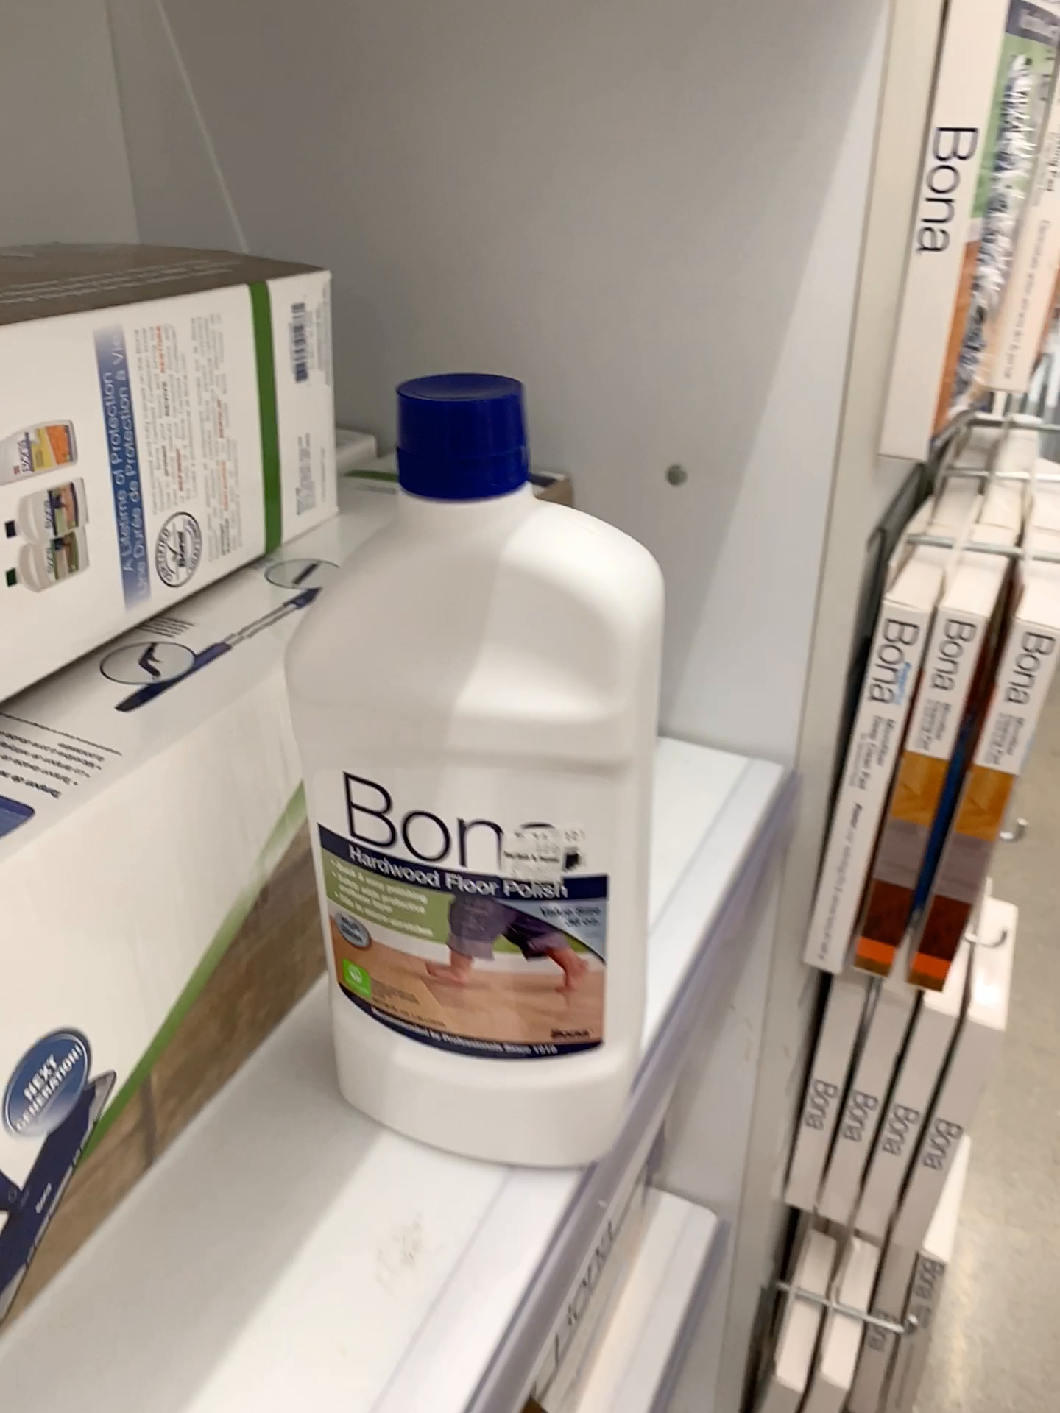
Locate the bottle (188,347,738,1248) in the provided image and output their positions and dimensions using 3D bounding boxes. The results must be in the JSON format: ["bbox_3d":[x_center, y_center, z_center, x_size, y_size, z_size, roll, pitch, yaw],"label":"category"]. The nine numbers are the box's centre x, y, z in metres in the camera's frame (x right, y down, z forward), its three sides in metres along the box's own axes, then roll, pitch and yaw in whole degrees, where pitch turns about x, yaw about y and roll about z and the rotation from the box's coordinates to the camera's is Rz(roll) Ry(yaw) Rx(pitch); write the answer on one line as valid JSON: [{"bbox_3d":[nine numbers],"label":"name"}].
[{"bbox_3d":[-0.013,0.035,0.332,0.120,0.259,0.070,7,29,13],"label":"bottle"}]
